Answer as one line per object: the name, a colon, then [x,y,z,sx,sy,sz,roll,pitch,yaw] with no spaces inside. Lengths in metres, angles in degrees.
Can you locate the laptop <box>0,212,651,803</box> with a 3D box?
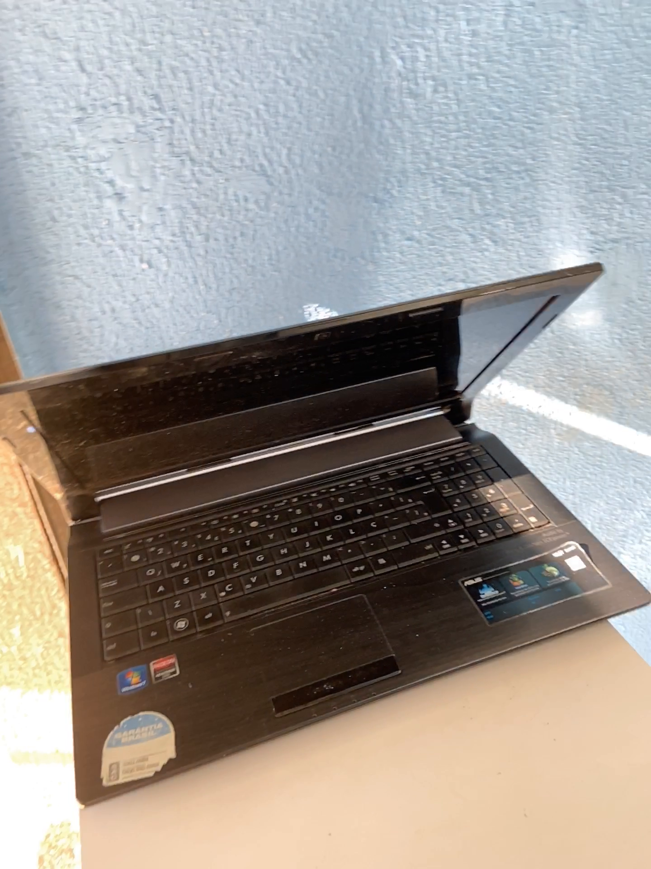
laptop: [-0.001,0.008,0.467,0.387,0.208,0.256,-13,33,-14]
